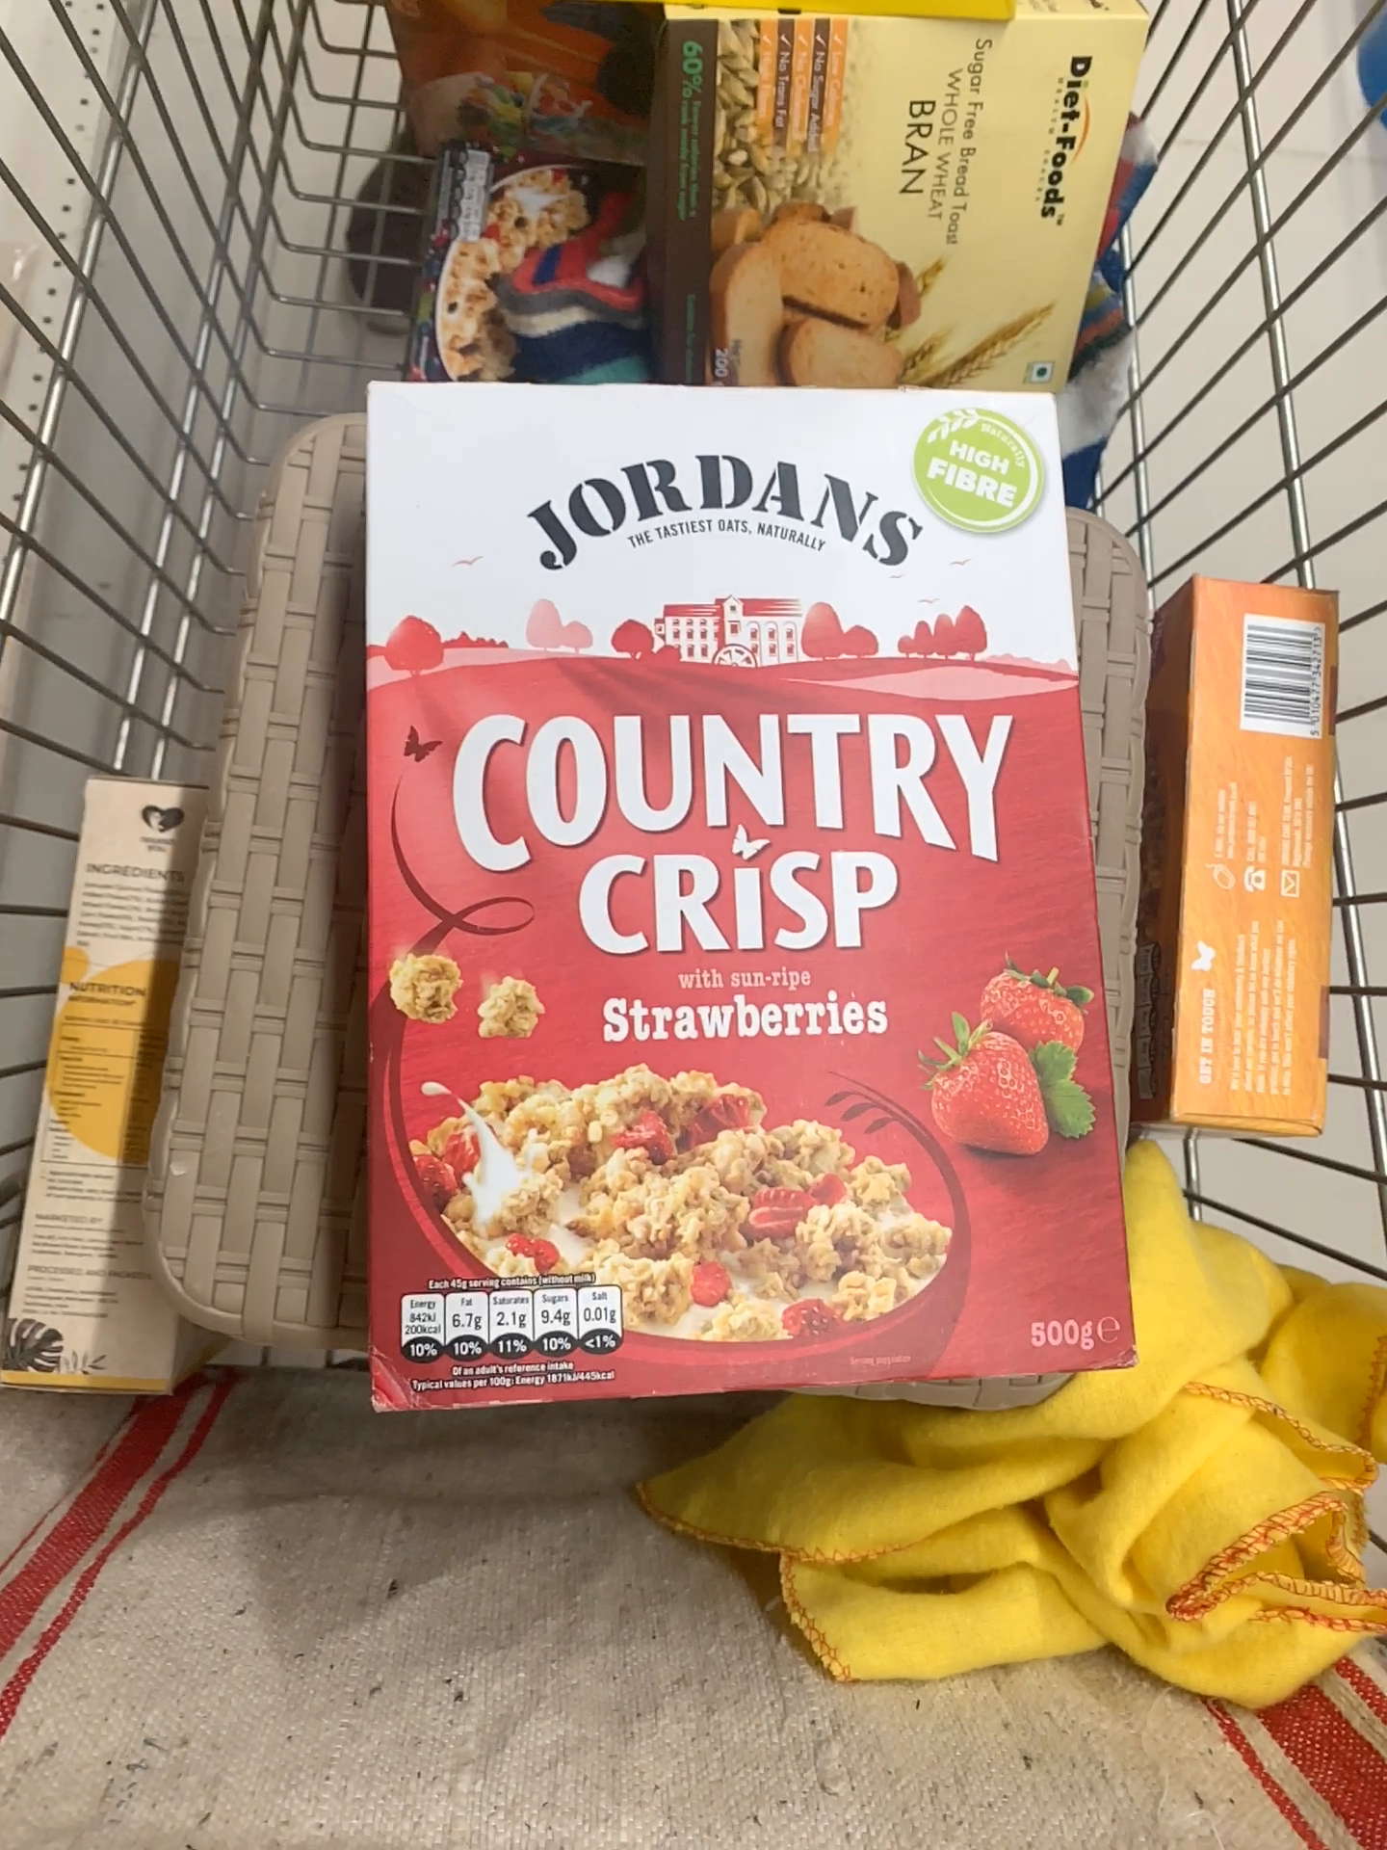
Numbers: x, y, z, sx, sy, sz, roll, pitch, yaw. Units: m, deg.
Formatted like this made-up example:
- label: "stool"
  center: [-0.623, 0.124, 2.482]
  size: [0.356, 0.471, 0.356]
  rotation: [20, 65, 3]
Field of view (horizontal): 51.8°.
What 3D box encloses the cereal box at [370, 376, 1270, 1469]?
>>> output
- label: "cereal box"
  center: [0.020, -0.004, 0.338]
  size: [0.180, 0.070, 0.230]
  rotation: [-1, 79, -6]
